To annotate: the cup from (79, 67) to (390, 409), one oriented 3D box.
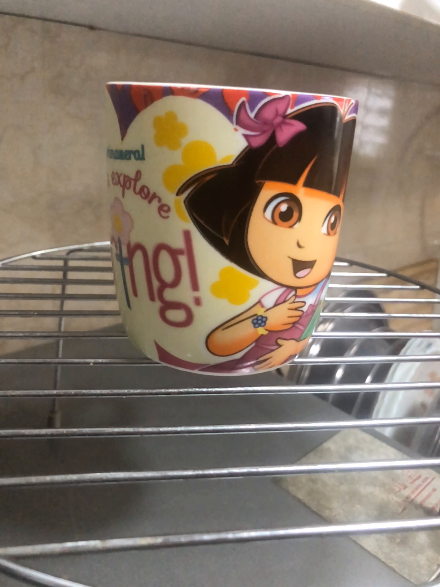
[{"bbox_3d":[0.013,-0.033,0.196,0.070,0.090,0.121,14,22,23],"label":"cup"}]
